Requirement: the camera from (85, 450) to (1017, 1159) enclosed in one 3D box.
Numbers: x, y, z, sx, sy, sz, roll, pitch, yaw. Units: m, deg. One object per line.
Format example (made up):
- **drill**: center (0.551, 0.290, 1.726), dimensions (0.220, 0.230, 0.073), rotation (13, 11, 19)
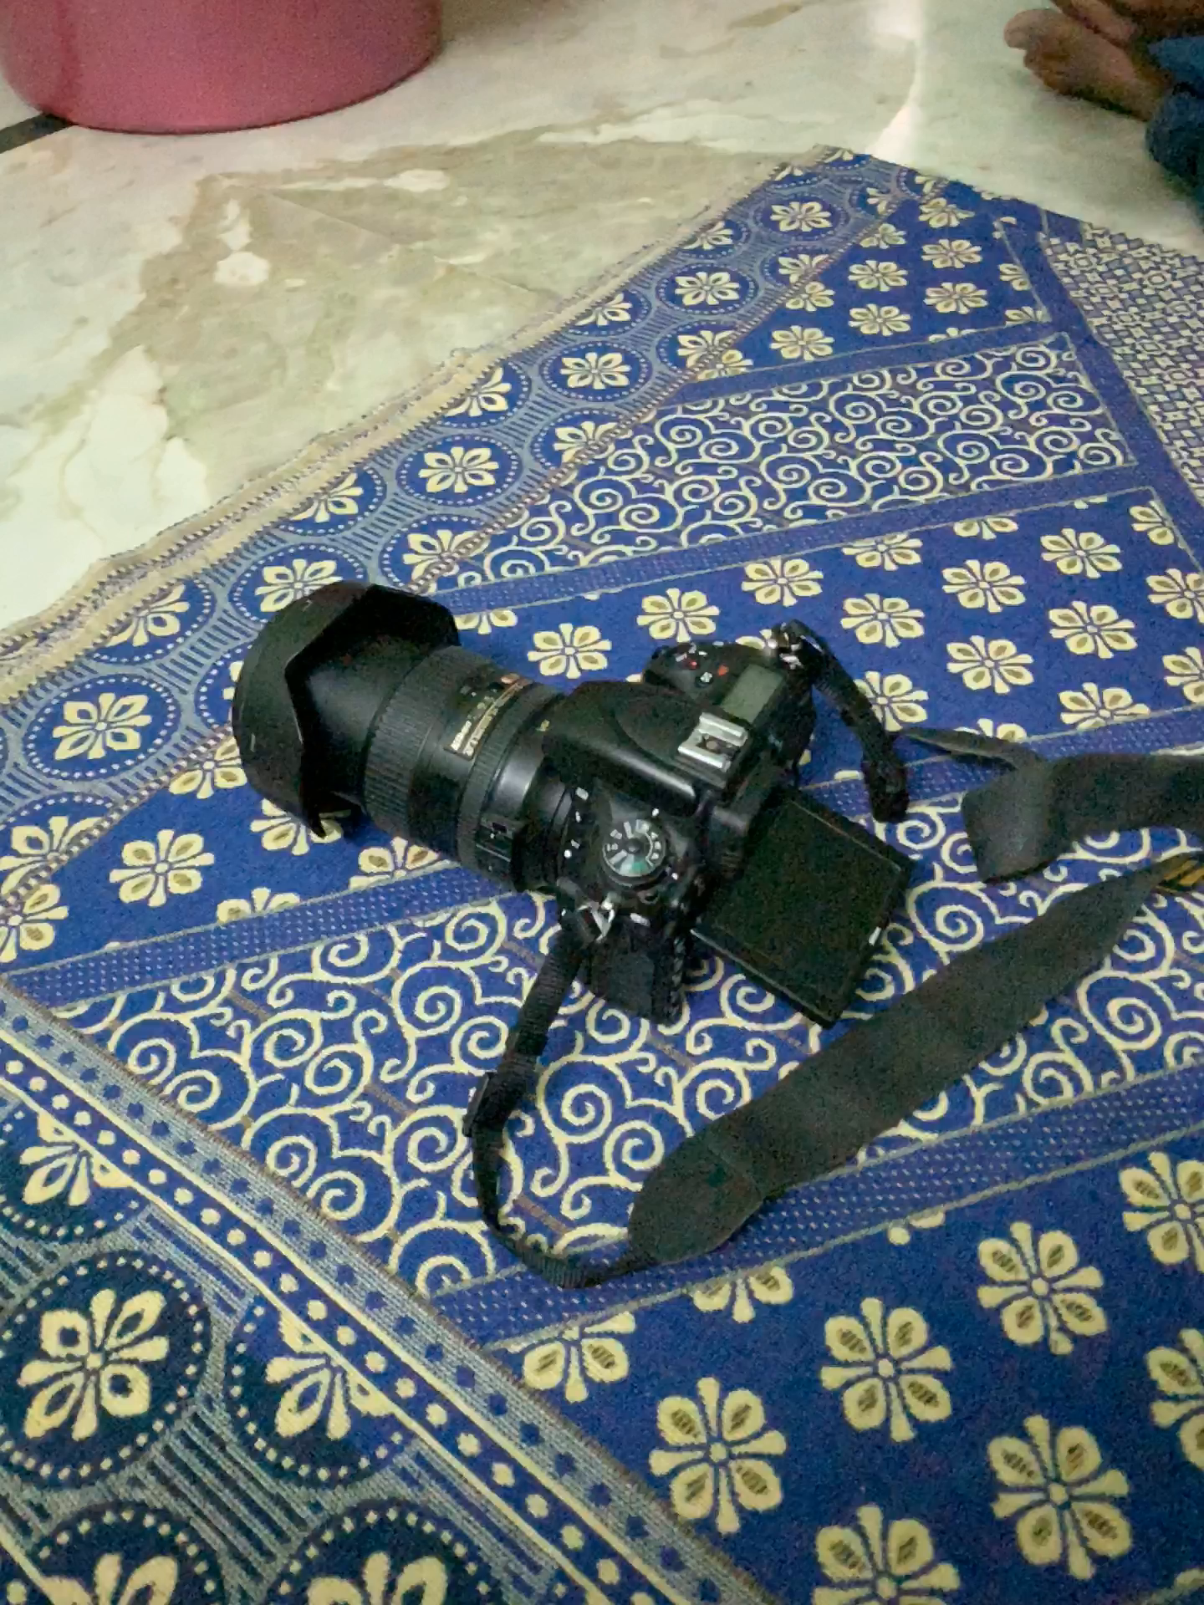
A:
- **camera**: center (-0.022, -0.017, 0.509), dimensions (0.320, 0.110, 0.160), rotation (23, 54, 21)
